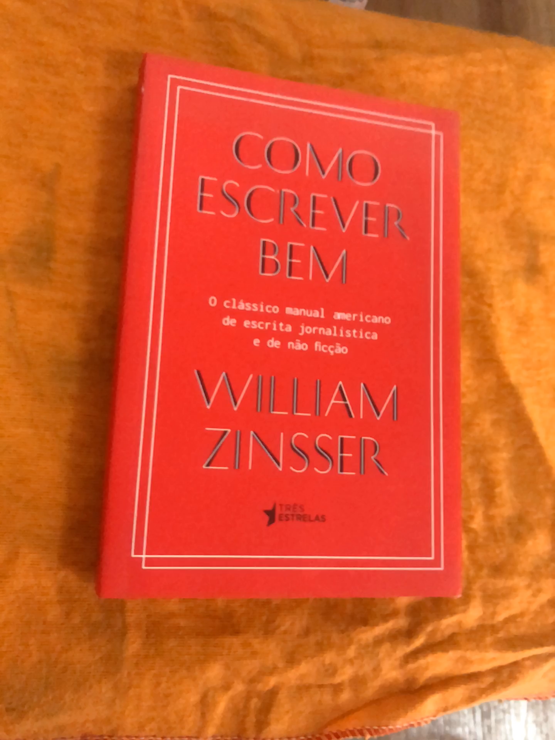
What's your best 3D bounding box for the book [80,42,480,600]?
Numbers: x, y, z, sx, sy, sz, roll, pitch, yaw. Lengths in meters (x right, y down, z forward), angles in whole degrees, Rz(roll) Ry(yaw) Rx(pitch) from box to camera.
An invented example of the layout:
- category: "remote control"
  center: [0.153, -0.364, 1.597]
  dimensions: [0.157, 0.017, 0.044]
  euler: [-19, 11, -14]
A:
- category: "book"
  center: [0.008, -0.017, 0.238]
  dimensions: [0.140, 0.020, 0.195]
  euler: [4, 81, -12]
